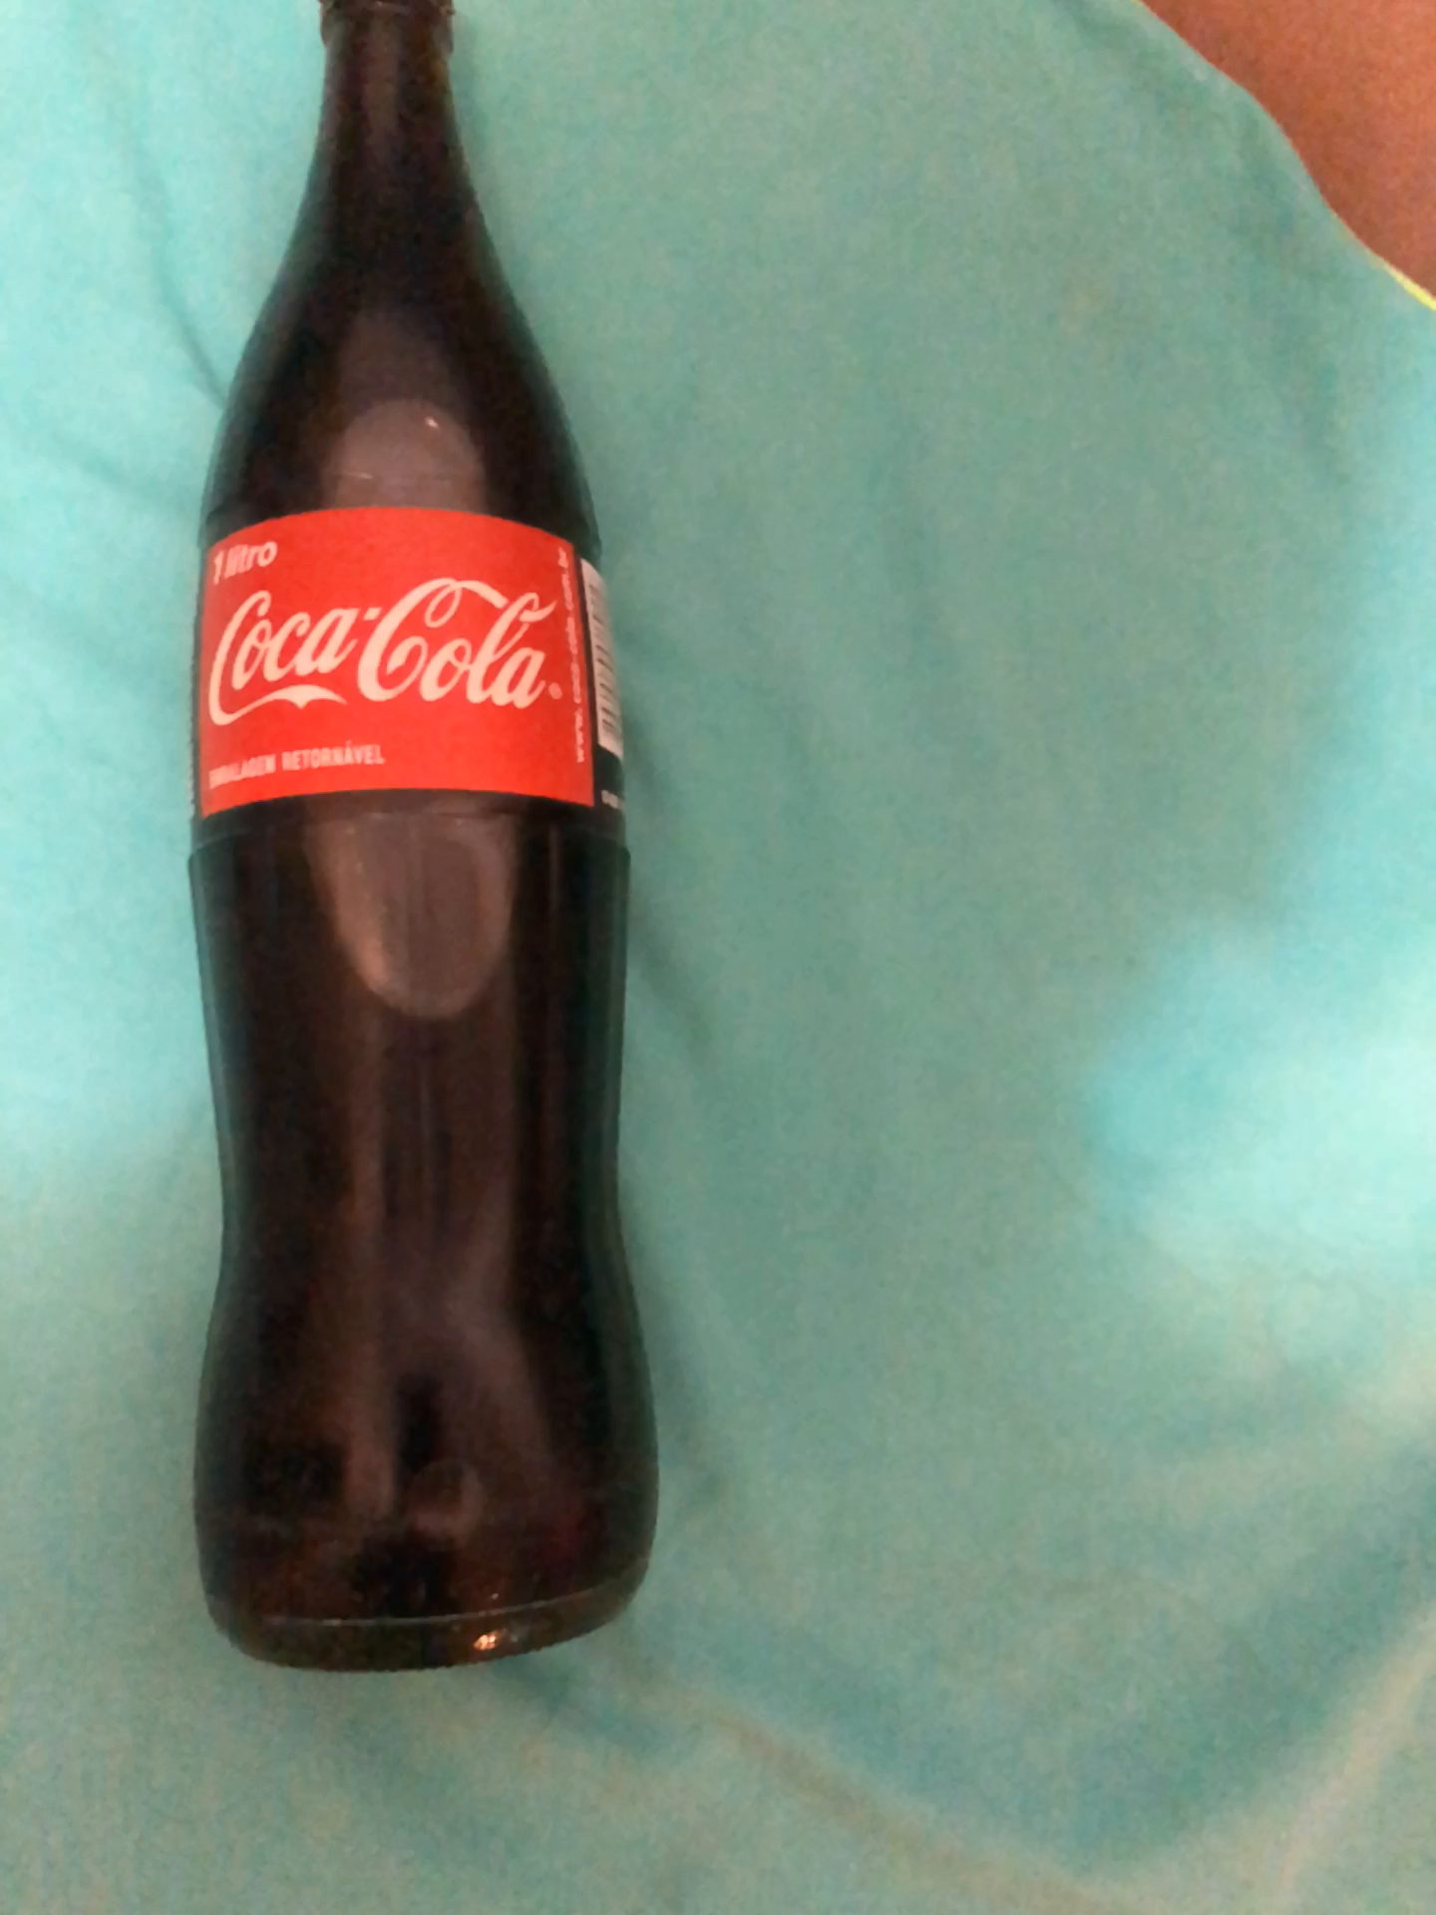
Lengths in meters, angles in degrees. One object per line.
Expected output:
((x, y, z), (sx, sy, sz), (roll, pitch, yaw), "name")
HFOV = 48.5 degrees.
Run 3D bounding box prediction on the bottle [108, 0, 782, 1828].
((-0.057, -0.046, 0.304), (0.100, 0.070, 0.360), (-2, 82, -13), "bottle")
